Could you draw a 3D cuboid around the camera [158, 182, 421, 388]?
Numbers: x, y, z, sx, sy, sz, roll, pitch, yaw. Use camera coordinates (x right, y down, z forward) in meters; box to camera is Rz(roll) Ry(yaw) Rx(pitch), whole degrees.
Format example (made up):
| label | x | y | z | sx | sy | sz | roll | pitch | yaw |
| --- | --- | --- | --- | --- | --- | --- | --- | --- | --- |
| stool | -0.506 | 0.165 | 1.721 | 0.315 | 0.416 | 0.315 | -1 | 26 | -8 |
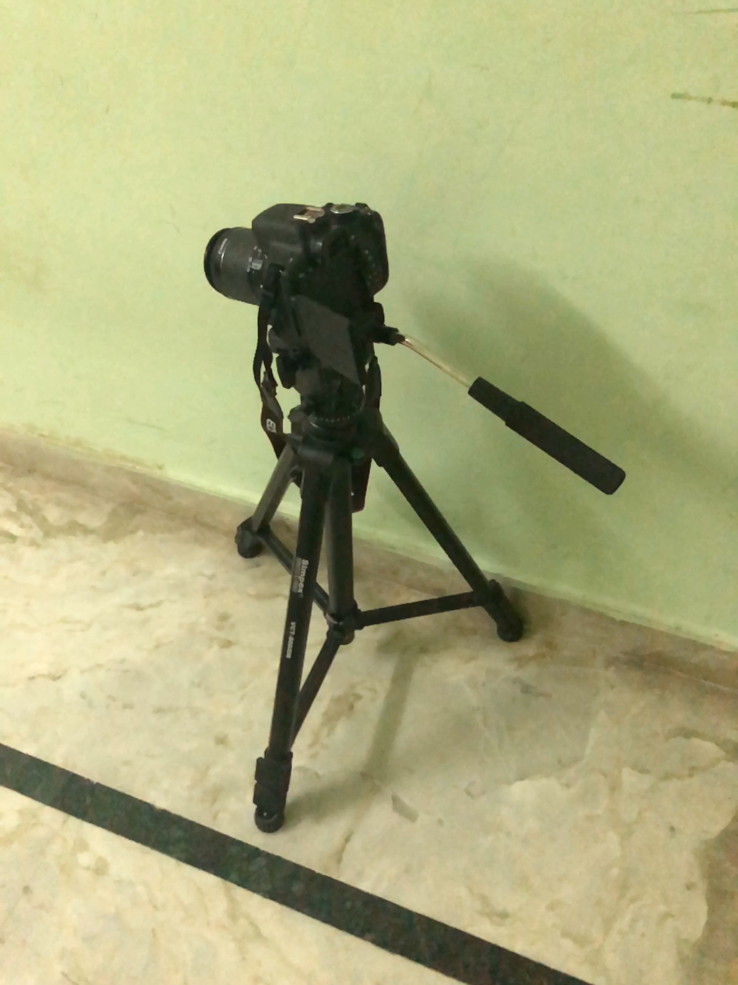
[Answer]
| label | x | y | z | sx | sy | sz | roll | pitch | yaw |
| --- | --- | --- | --- | --- | --- | --- | --- | --- | --- |
| camera | -0.068 | -0.198 | 0.753 | 0.190 | 0.099 | 0.131 | 20 | 51 | 25 |
